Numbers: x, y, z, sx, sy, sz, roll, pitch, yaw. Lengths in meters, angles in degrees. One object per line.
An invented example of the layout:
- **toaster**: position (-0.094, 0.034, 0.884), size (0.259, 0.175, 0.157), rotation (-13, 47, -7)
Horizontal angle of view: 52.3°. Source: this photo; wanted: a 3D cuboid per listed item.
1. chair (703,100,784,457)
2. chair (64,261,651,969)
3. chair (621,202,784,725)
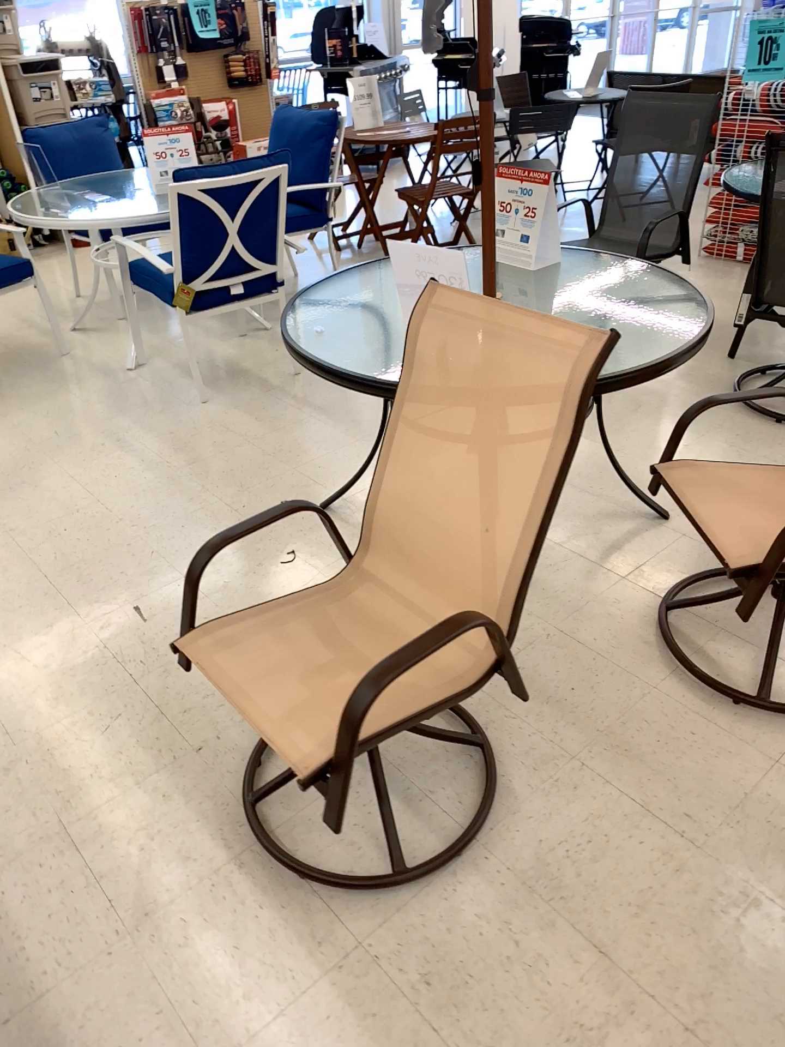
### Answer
- **chair**: position (1.462, -0.835, 2.638), size (0.569, 0.916, 0.710), rotation (14, 37, 25)
- **chair**: position (-0.031, 0.124, 1.498), size (0.708, 0.956, 0.570), rotation (-27, 40, -31)
- **chair**: position (0.961, -0.114, 1.735), size (0.707, 0.956, 0.571), rotation (-1, 34, 4)
